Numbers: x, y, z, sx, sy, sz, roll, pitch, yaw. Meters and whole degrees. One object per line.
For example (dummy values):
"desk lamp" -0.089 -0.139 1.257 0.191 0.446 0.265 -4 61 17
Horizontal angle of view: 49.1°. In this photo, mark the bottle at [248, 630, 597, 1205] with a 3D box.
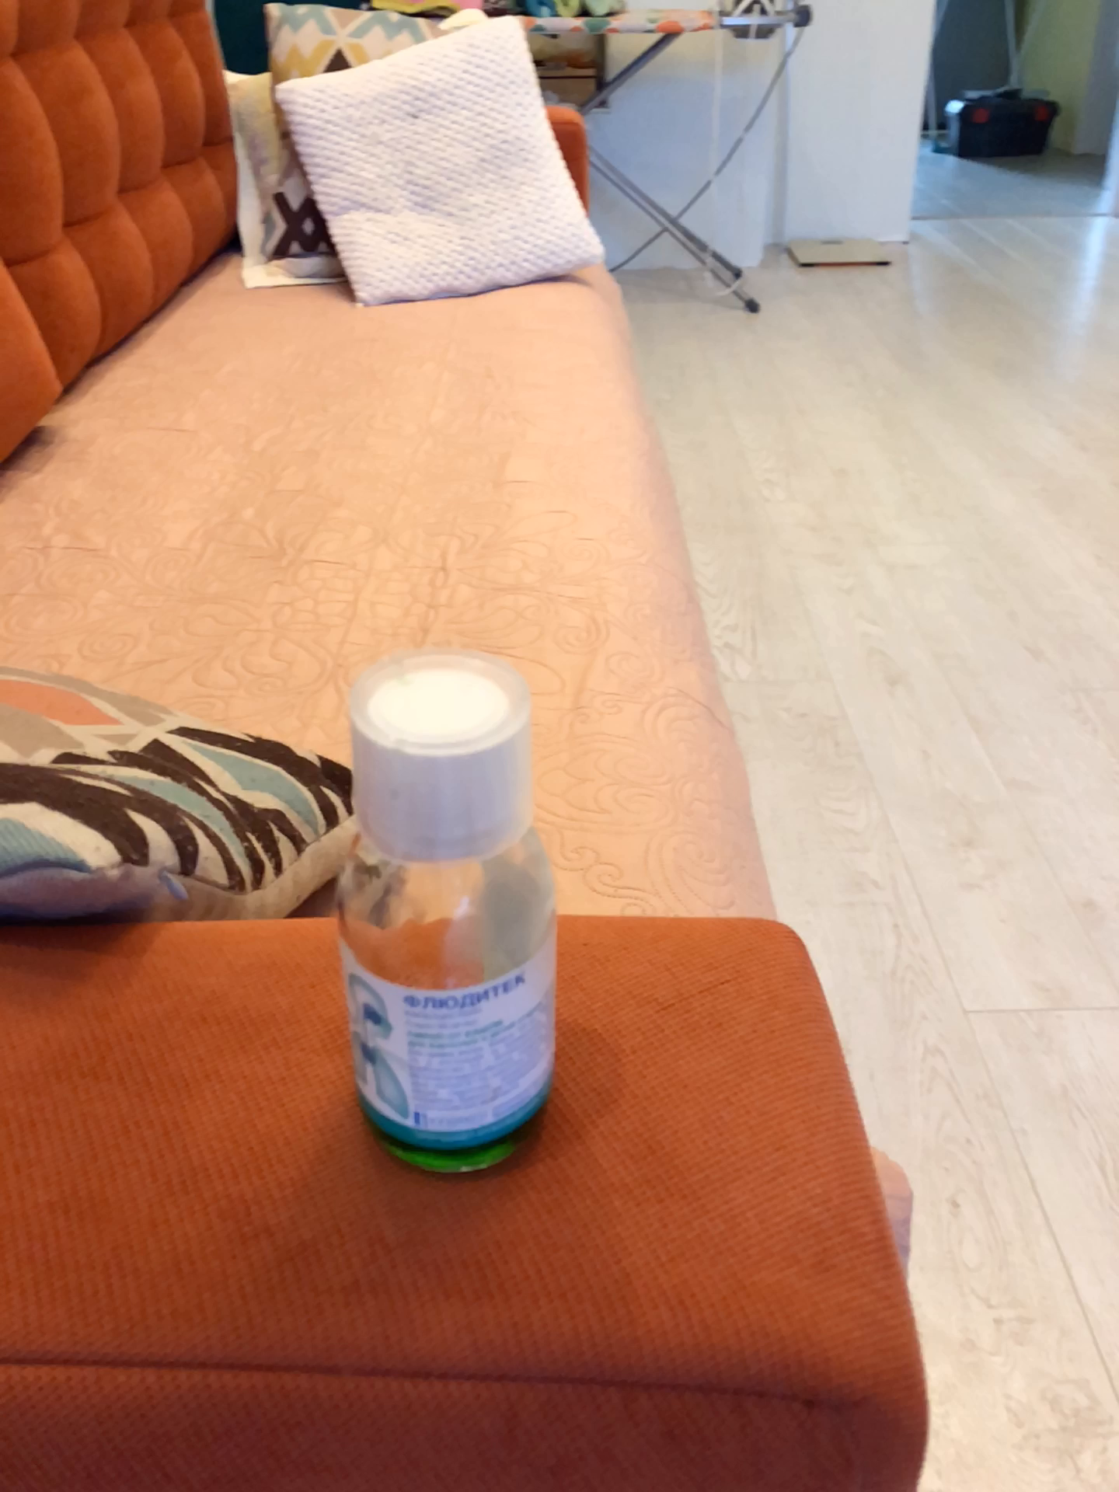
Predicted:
"bottle" -0.024 0.038 0.266 0.060 0.106 0.060 -1 32 1
